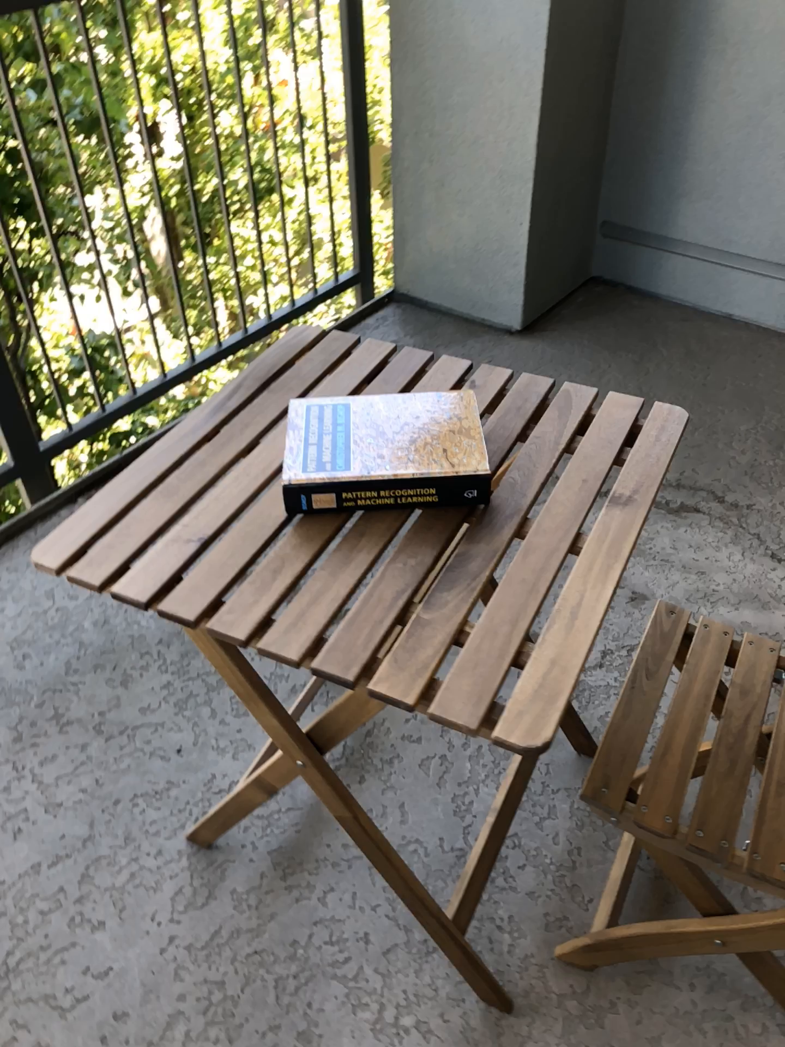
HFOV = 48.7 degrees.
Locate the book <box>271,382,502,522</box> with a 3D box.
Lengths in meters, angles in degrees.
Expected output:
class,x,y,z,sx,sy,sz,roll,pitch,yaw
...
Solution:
class,x,y,z,sx,sy,sz,roll,pitch,yaw
book,-0.010,-0.089,1.025,0.250,0.050,0.191,-3,41,-1
